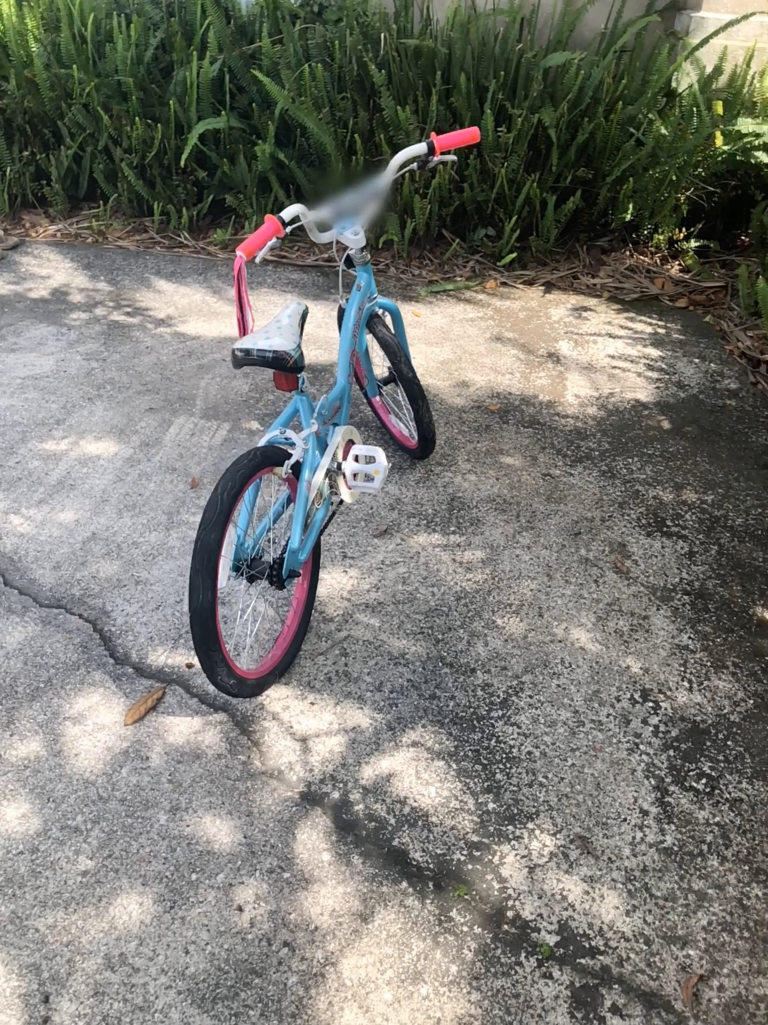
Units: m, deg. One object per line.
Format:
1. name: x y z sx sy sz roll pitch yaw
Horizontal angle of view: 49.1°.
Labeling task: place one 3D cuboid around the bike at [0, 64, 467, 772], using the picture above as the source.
1. bike: -0.256 -0.359 1.881 0.699 0.923 1.317 8 35 7
